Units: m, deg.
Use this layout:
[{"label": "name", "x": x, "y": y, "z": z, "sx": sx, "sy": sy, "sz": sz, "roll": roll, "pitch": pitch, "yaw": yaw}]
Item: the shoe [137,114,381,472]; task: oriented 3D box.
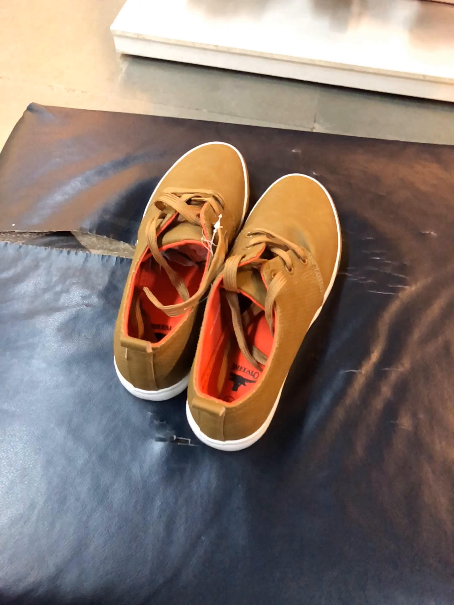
[{"label": "shoe", "x": 0.036, "y": -0.020, "z": 0.394, "sx": 0.095, "sy": 0.090, "sz": 0.261, "roll": 18, "pitch": 59, "yaw": 10}]

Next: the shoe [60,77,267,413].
[{"label": "shoe", "x": -0.035, "y": -0.059, "z": 0.418, "sx": 0.100, "sy": 0.097, "sz": 0.267, "roll": 8, "pitch": 57, "yaw": 3}]
